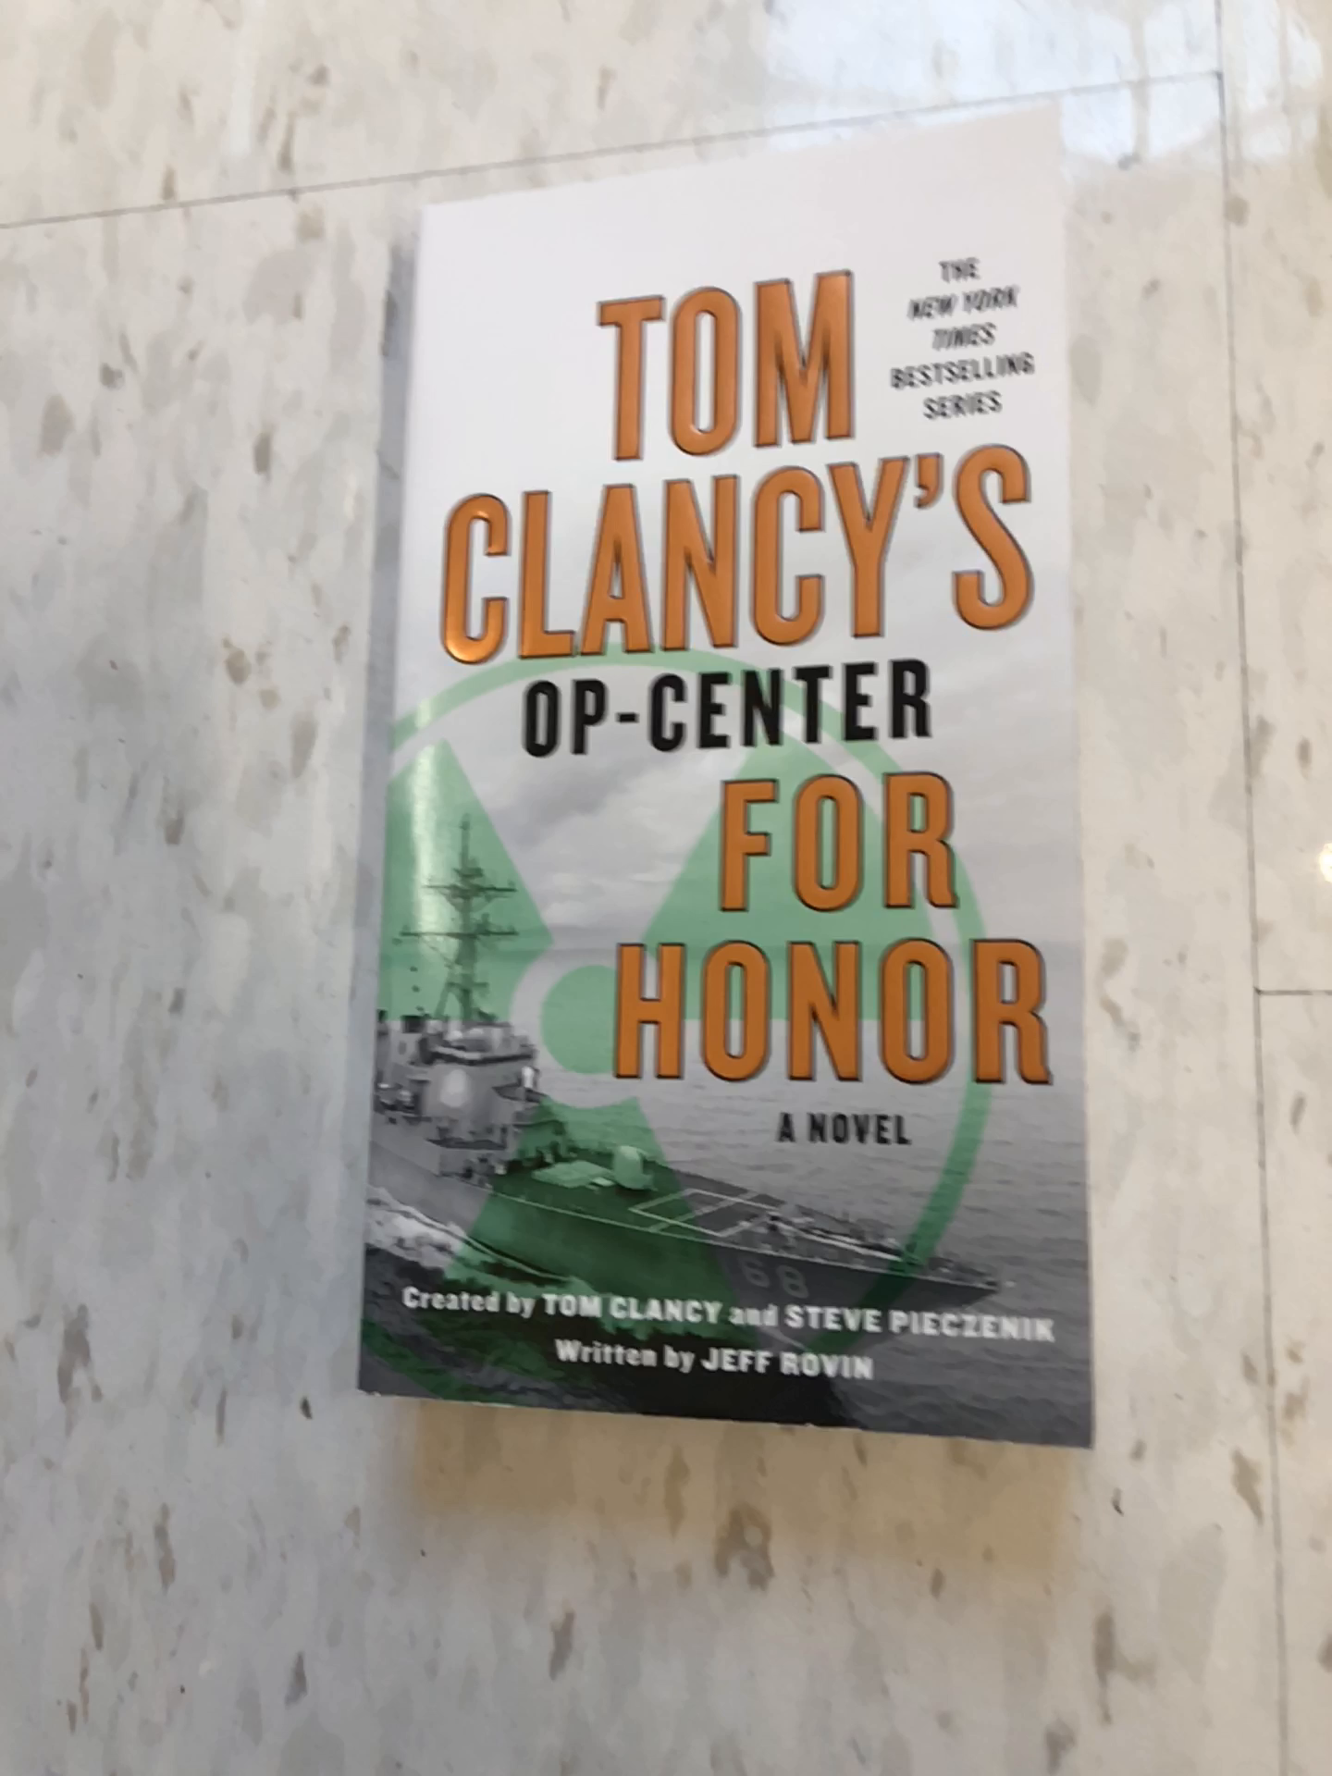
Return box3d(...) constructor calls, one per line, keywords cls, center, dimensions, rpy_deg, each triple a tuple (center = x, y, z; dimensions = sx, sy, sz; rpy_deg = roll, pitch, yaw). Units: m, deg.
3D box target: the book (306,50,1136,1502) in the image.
box3d(cls="book", center=(0.010, -0.018, 0.234), dimensions=(0.110, 0.050, 0.200), rpy_deg=(-1, 80, 13))
